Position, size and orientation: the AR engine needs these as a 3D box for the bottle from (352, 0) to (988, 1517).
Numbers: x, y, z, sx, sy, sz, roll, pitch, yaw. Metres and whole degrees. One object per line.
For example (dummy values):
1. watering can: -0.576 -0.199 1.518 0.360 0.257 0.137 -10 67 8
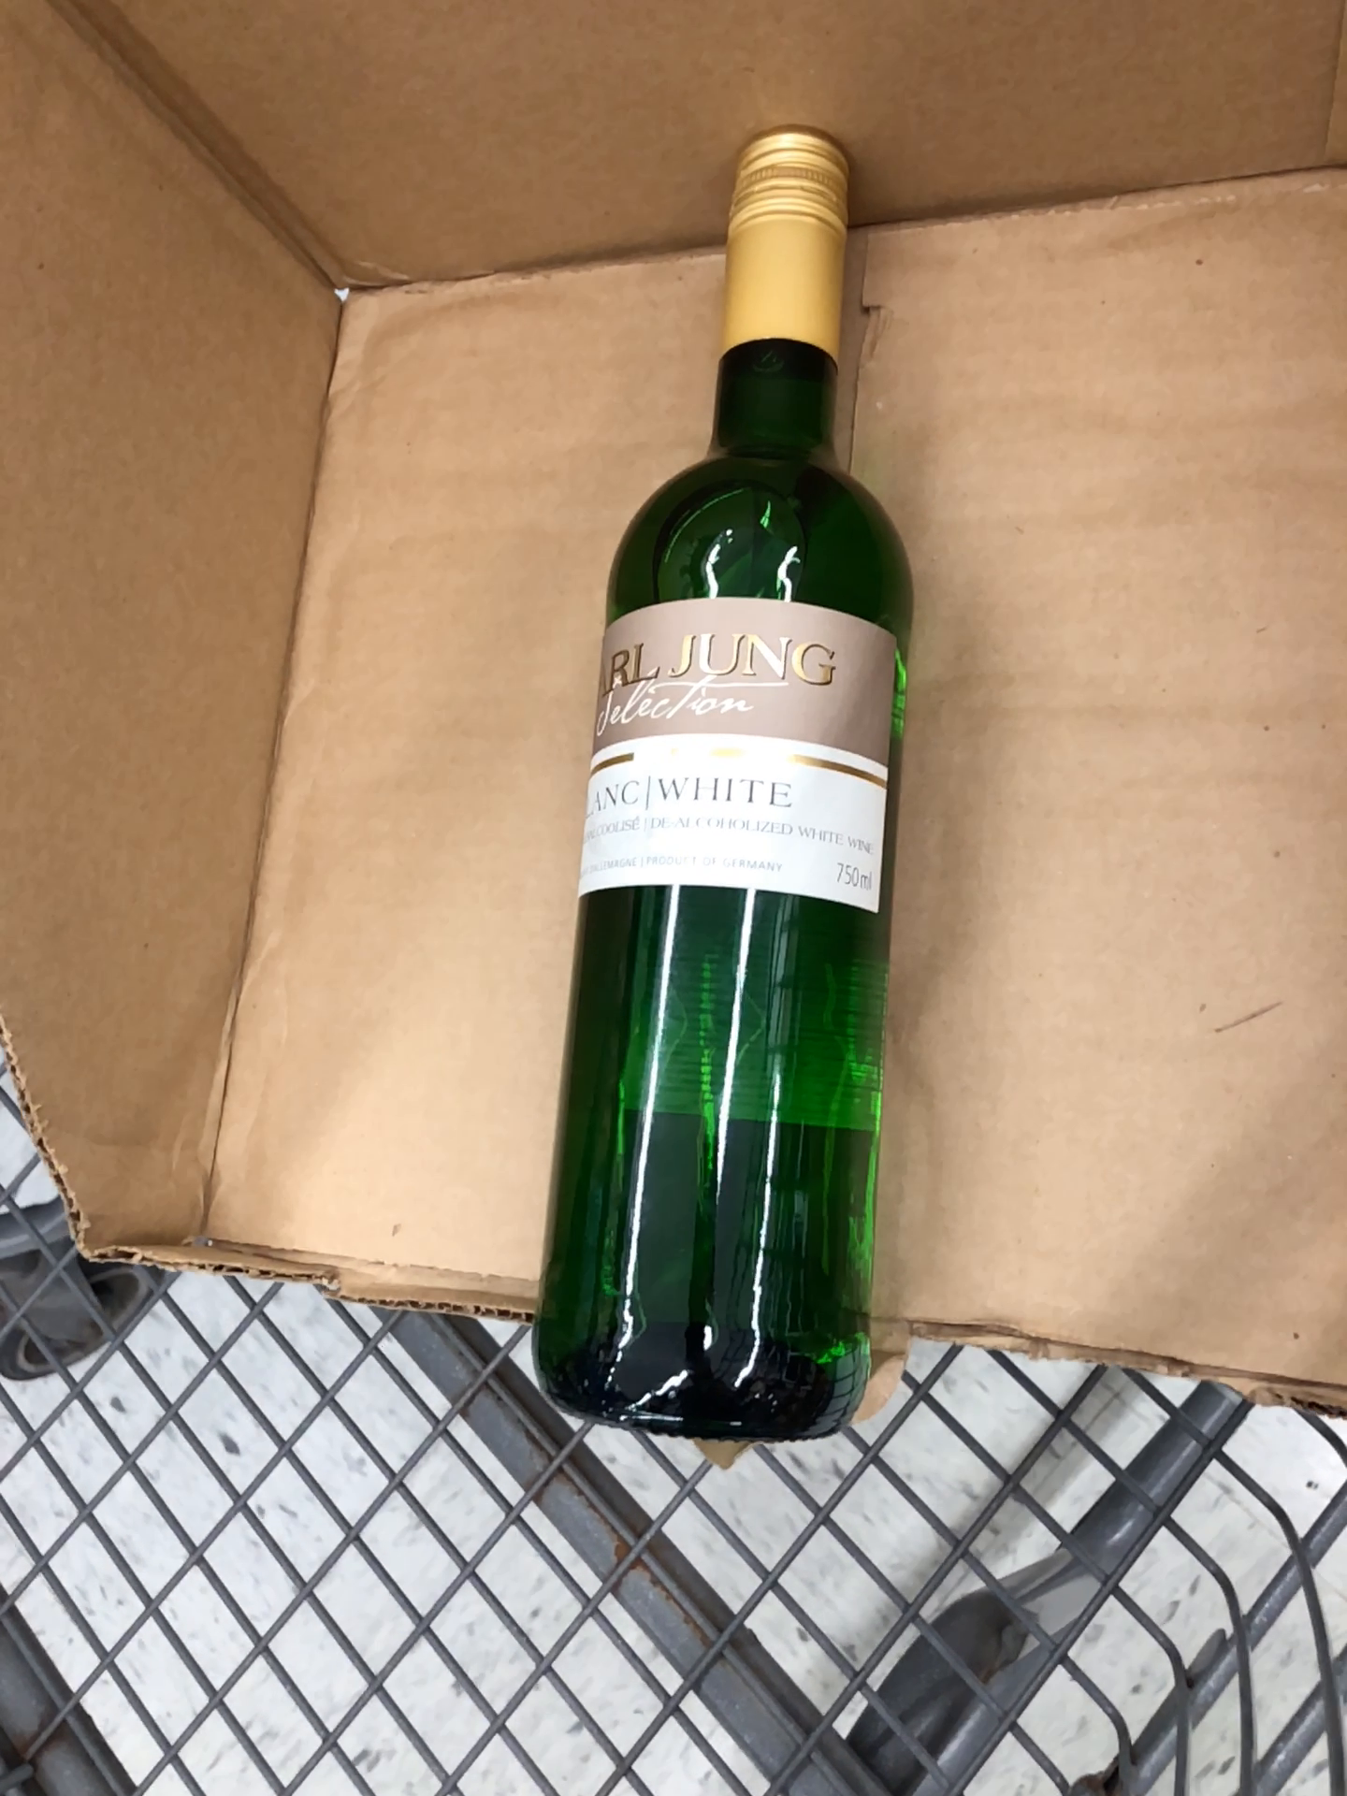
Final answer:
1. bottle: 0.010 -0.051 0.335 0.080 0.100 0.330 0 80 29
